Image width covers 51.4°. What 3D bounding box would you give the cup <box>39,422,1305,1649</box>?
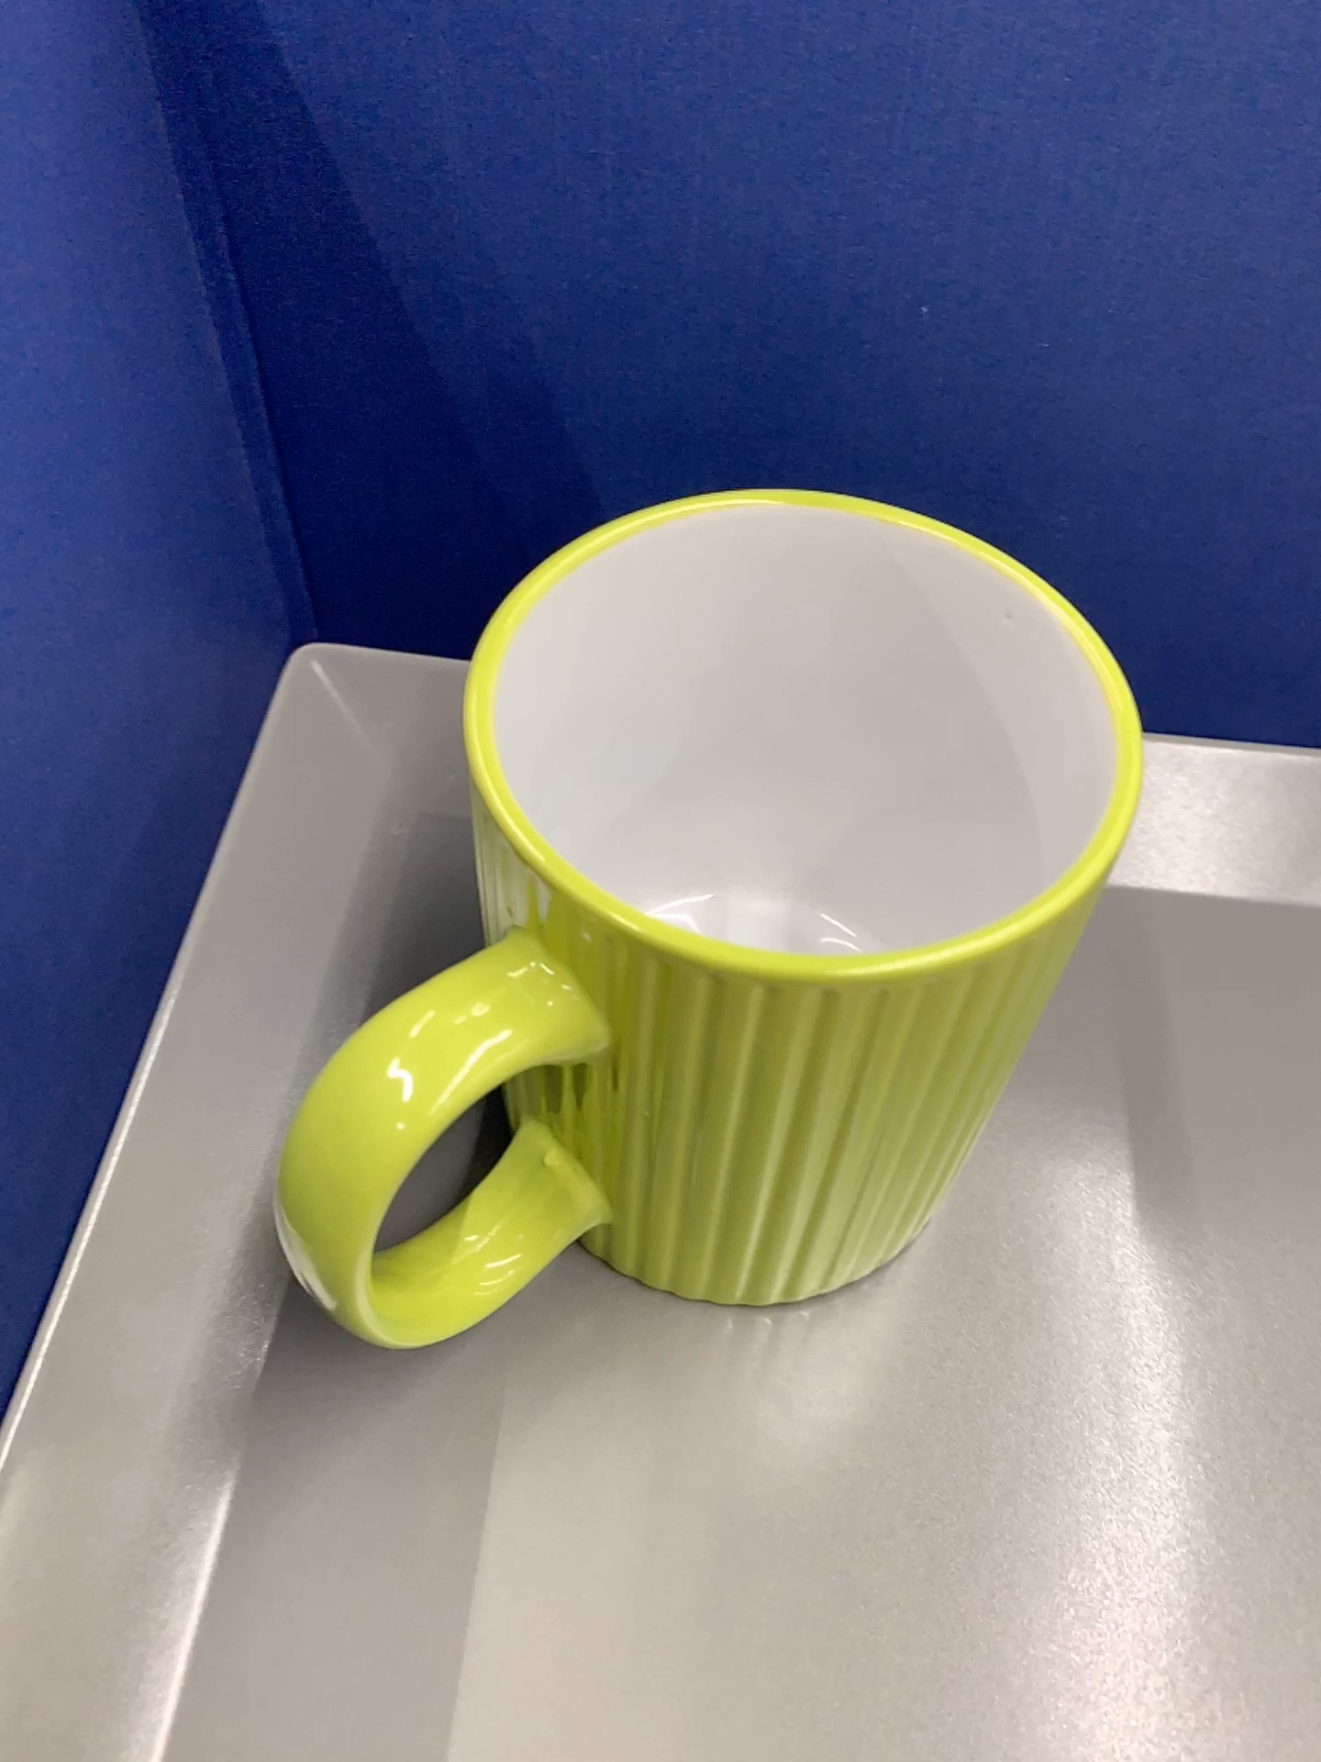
[{"bbox_3d":[0.004,0.018,0.206,0.129,0.098,0.091,-36,60,-27],"label":"cup"}]
